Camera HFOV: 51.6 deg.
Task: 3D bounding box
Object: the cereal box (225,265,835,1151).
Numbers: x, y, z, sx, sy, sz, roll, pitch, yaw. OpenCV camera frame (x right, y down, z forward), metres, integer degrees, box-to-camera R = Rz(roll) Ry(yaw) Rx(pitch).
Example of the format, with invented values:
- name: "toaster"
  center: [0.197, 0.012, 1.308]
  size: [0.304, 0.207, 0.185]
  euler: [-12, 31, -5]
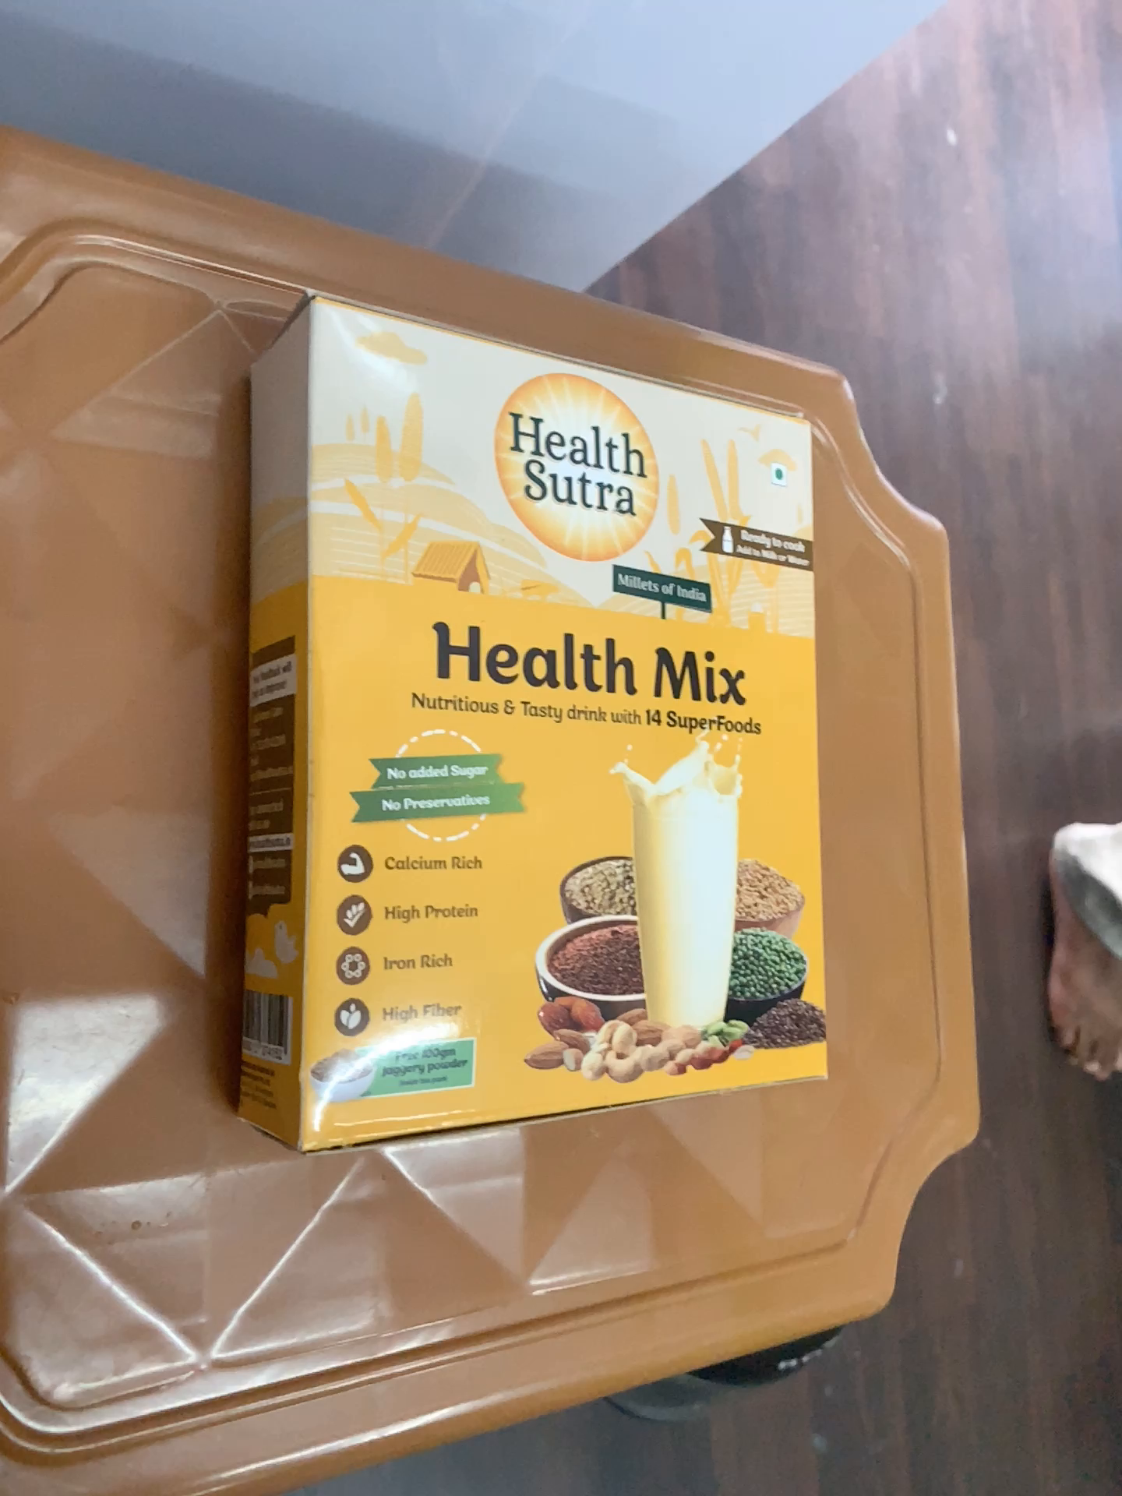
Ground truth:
- name: "cereal box"
  center: [-0.004, -0.006, 0.260]
  size: [0.130, 0.040, 0.160]
  euler: [3, 82, -33]
